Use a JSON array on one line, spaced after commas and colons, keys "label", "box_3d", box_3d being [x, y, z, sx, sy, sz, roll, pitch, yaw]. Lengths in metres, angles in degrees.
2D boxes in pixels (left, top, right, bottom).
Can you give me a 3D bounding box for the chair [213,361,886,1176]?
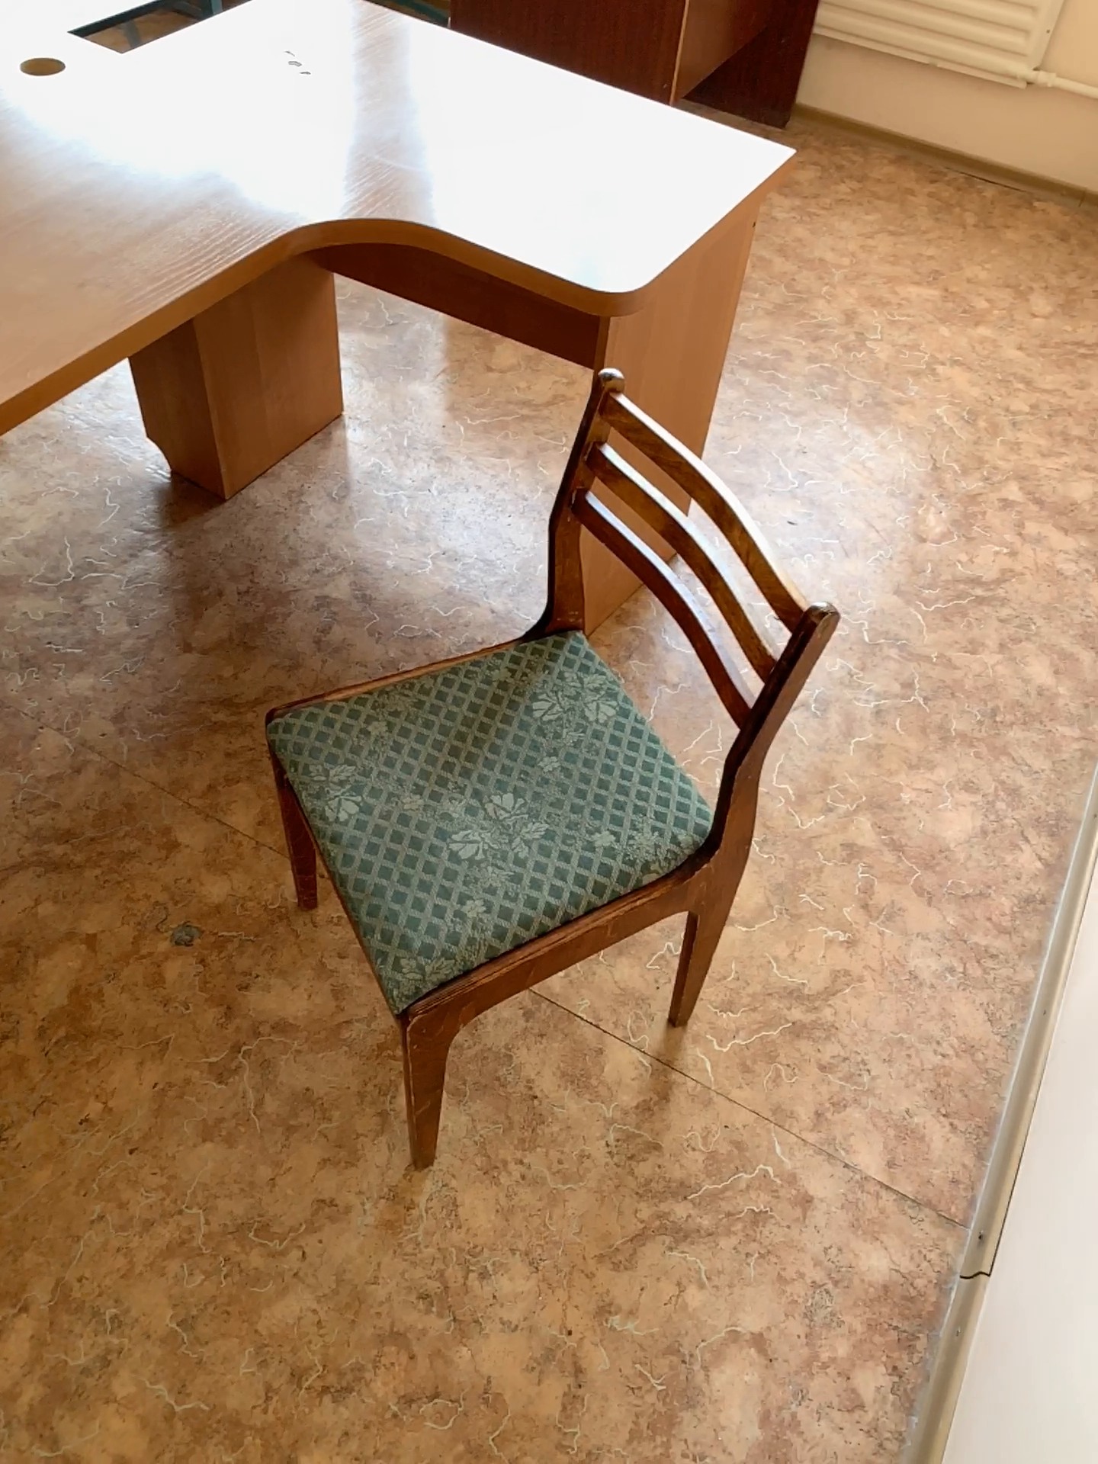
[{"label": "chair", "box_3d": [-0.039, 0.071, 1.168, 0.402, 0.705, 0.402, -20, 56, -21]}]
